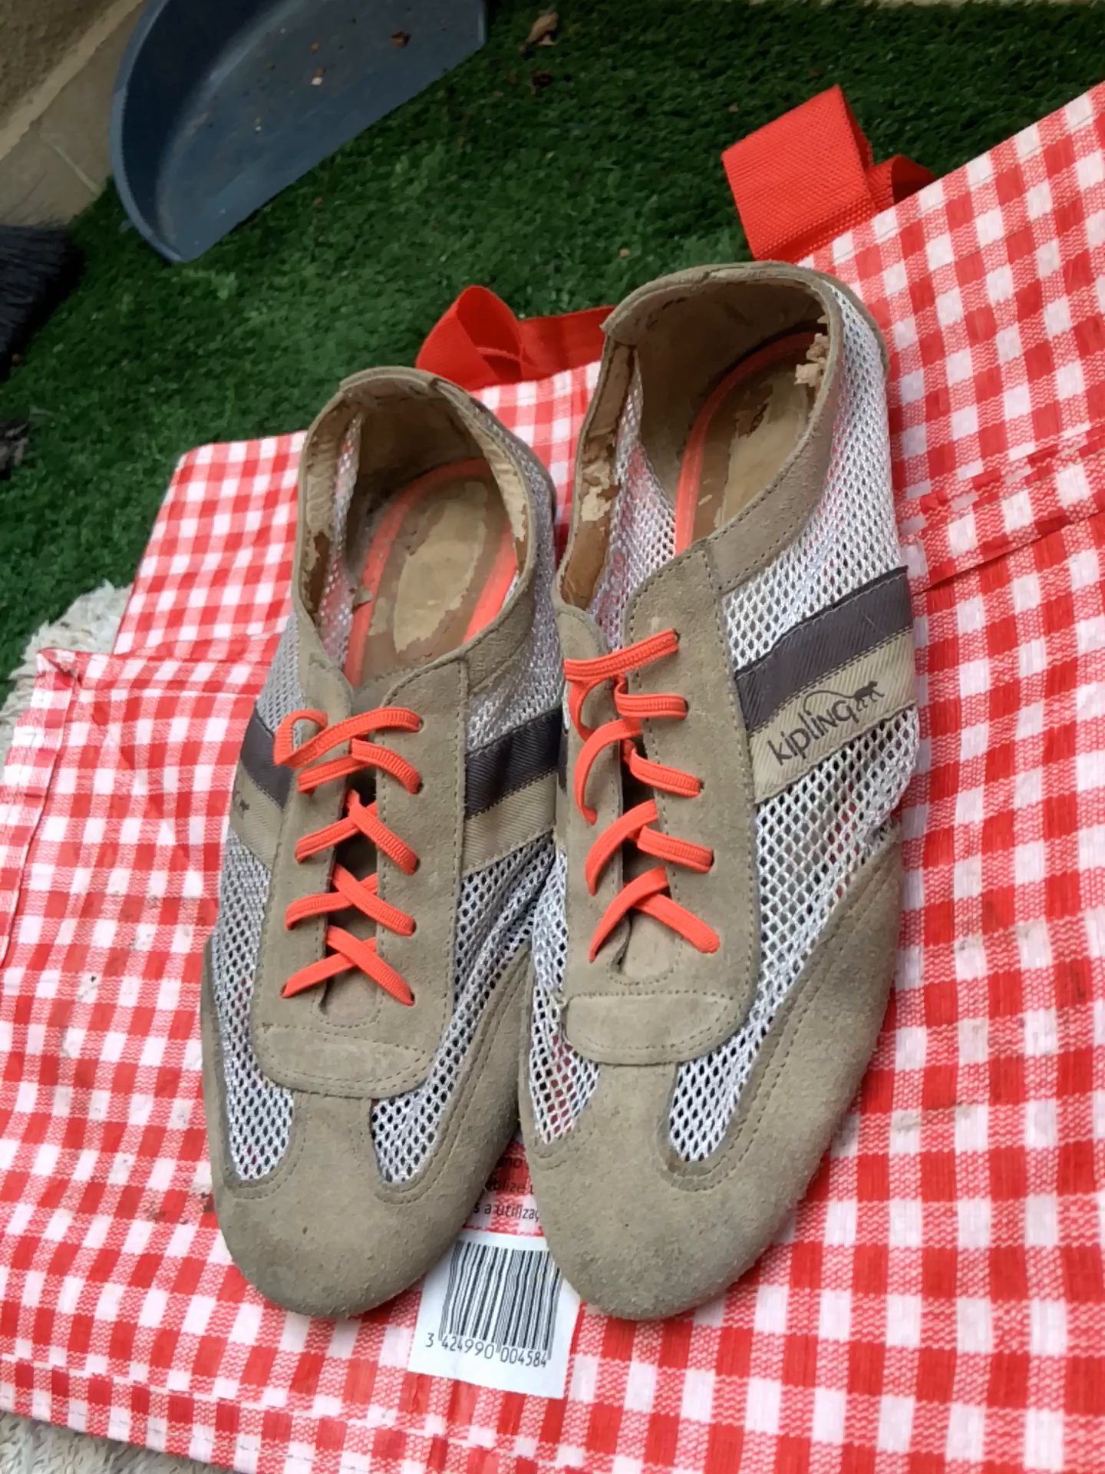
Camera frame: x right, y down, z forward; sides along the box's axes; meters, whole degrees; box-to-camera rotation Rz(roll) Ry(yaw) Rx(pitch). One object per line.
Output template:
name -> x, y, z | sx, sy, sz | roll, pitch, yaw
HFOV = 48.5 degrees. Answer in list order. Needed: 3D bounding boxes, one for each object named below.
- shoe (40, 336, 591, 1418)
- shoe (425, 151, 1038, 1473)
shoe -> -0.047, 0.024, 0.303 | 0.100, 0.050, 0.241 | -3, 70, 15
shoe -> 0.030, 0.010, 0.256 | 0.100, 0.050, 0.231 | -18, 64, 45
